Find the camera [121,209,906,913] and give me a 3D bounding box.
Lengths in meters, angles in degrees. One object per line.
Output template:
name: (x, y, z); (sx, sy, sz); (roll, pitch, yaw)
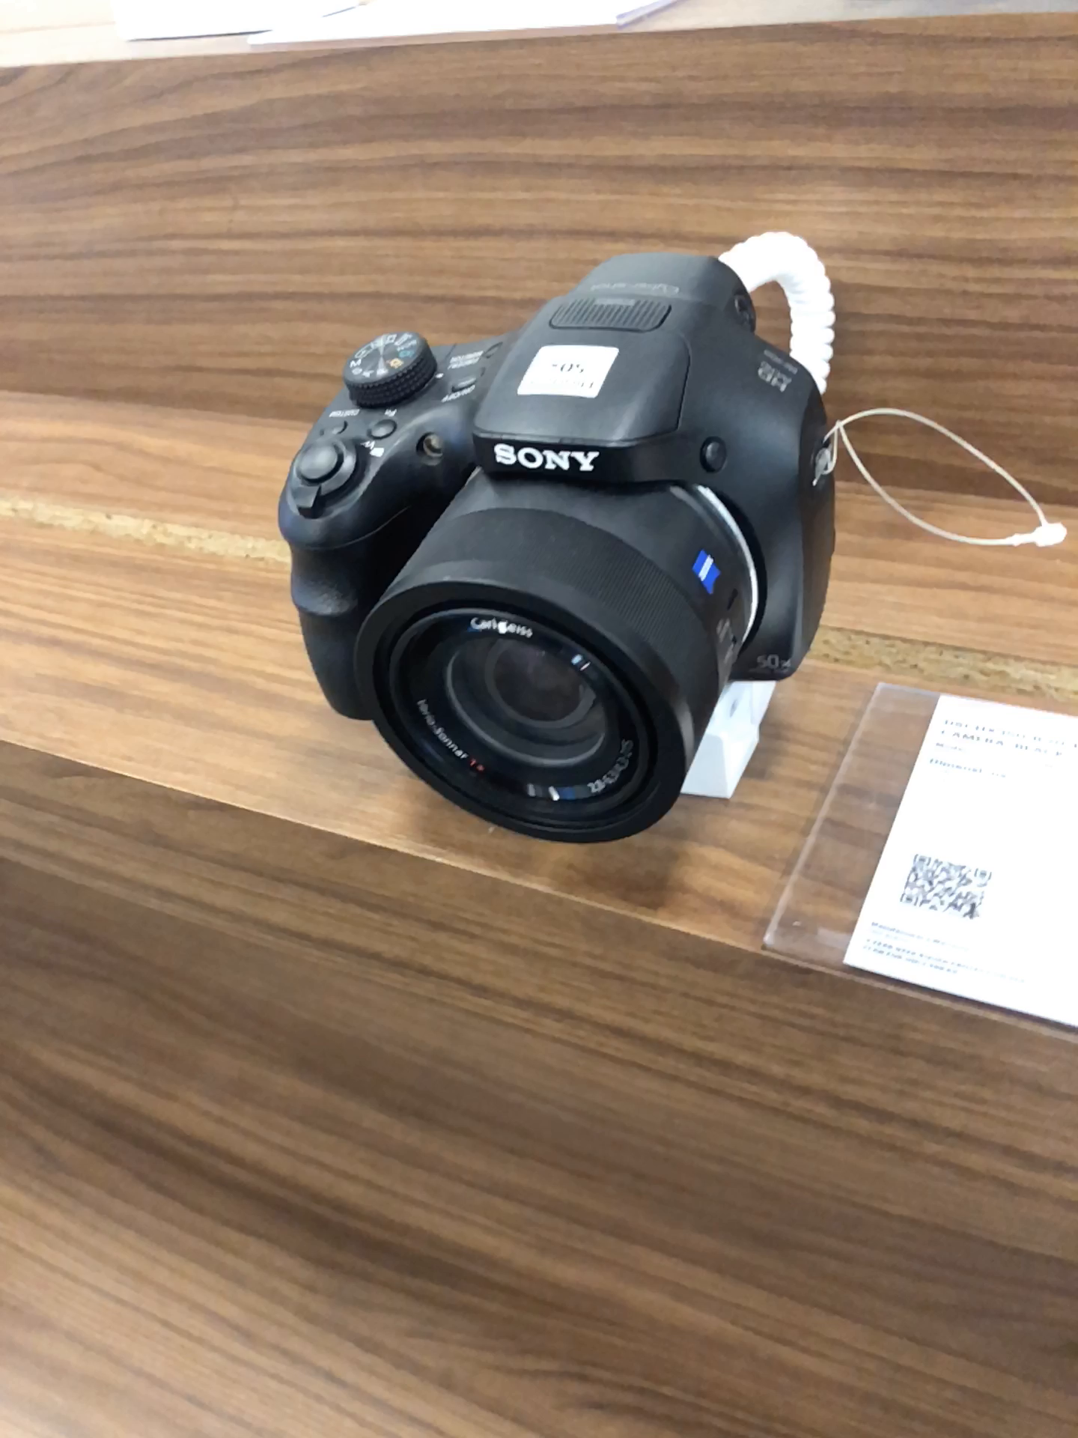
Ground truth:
camera: (0.008, -0.051, 0.301); (0.130, 0.100, 0.140); (11, 44, 23)
